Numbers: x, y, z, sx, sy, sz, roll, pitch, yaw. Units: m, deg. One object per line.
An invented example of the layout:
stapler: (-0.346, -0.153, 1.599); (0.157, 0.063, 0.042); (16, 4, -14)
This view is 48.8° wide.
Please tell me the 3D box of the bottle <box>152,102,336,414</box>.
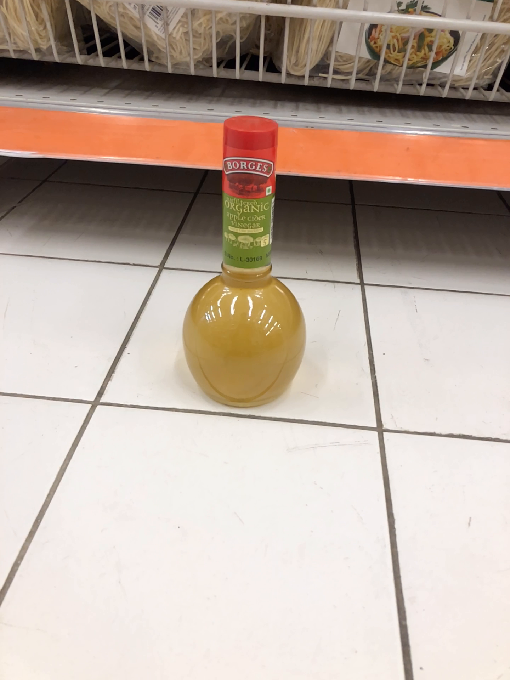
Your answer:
bottle: (-0.003, -0.051, 0.363); (0.090, 0.169, 0.091); (1, 35, -1)
